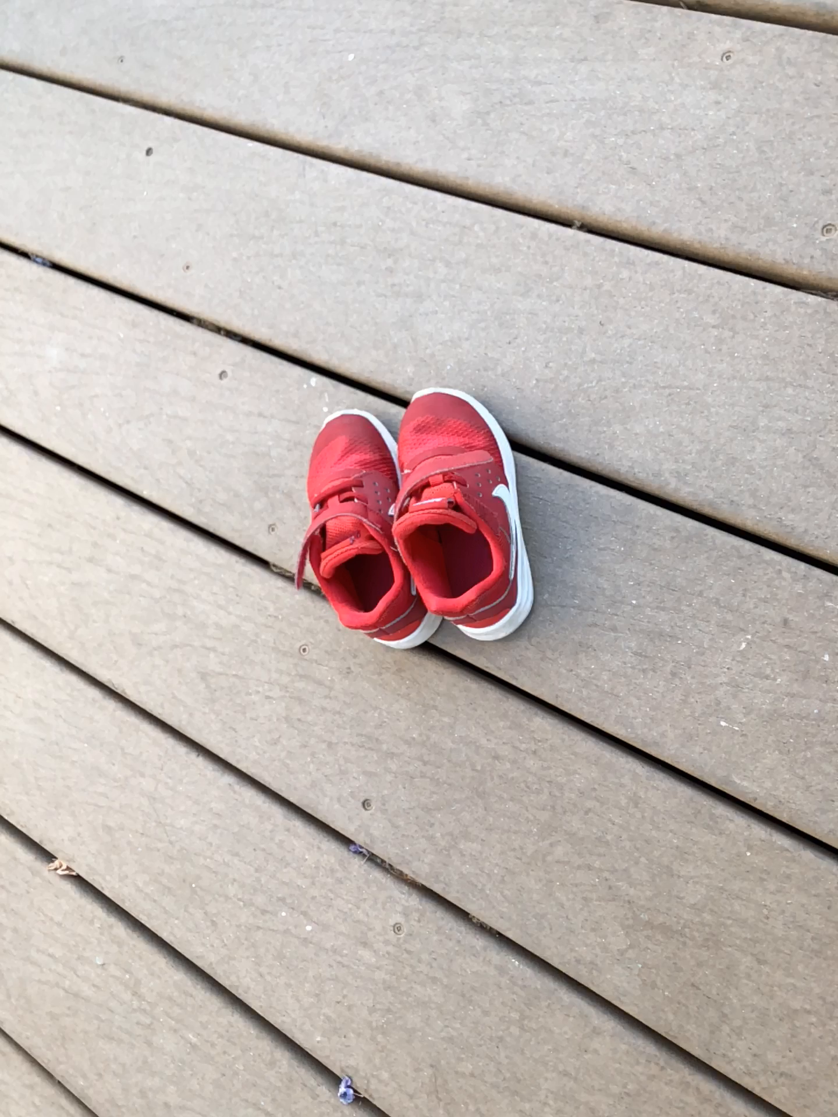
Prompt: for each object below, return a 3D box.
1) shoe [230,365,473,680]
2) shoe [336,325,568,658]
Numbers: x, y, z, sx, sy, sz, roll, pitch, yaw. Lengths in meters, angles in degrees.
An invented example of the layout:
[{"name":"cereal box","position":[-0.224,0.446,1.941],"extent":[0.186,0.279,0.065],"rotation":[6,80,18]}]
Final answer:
[{"name":"shoe","position":[-0.041,-0.018,0.576],"extent":[0.077,0.087,0.167],"rotation":[-22,77,19]},{"name":"shoe","position":[0.021,-0.033,0.543],"extent":[0.077,0.087,0.167],"rotation":[-16,79,21]}]
